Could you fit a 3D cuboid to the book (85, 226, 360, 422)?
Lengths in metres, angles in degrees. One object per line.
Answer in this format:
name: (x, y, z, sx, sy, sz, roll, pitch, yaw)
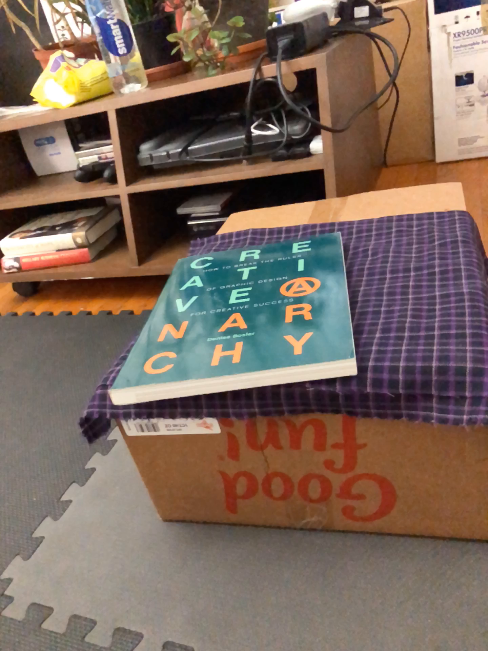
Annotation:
book: (-0.006, -0.020, 0.553, 0.220, 0.020, 0.302, -8, 29, 12)
